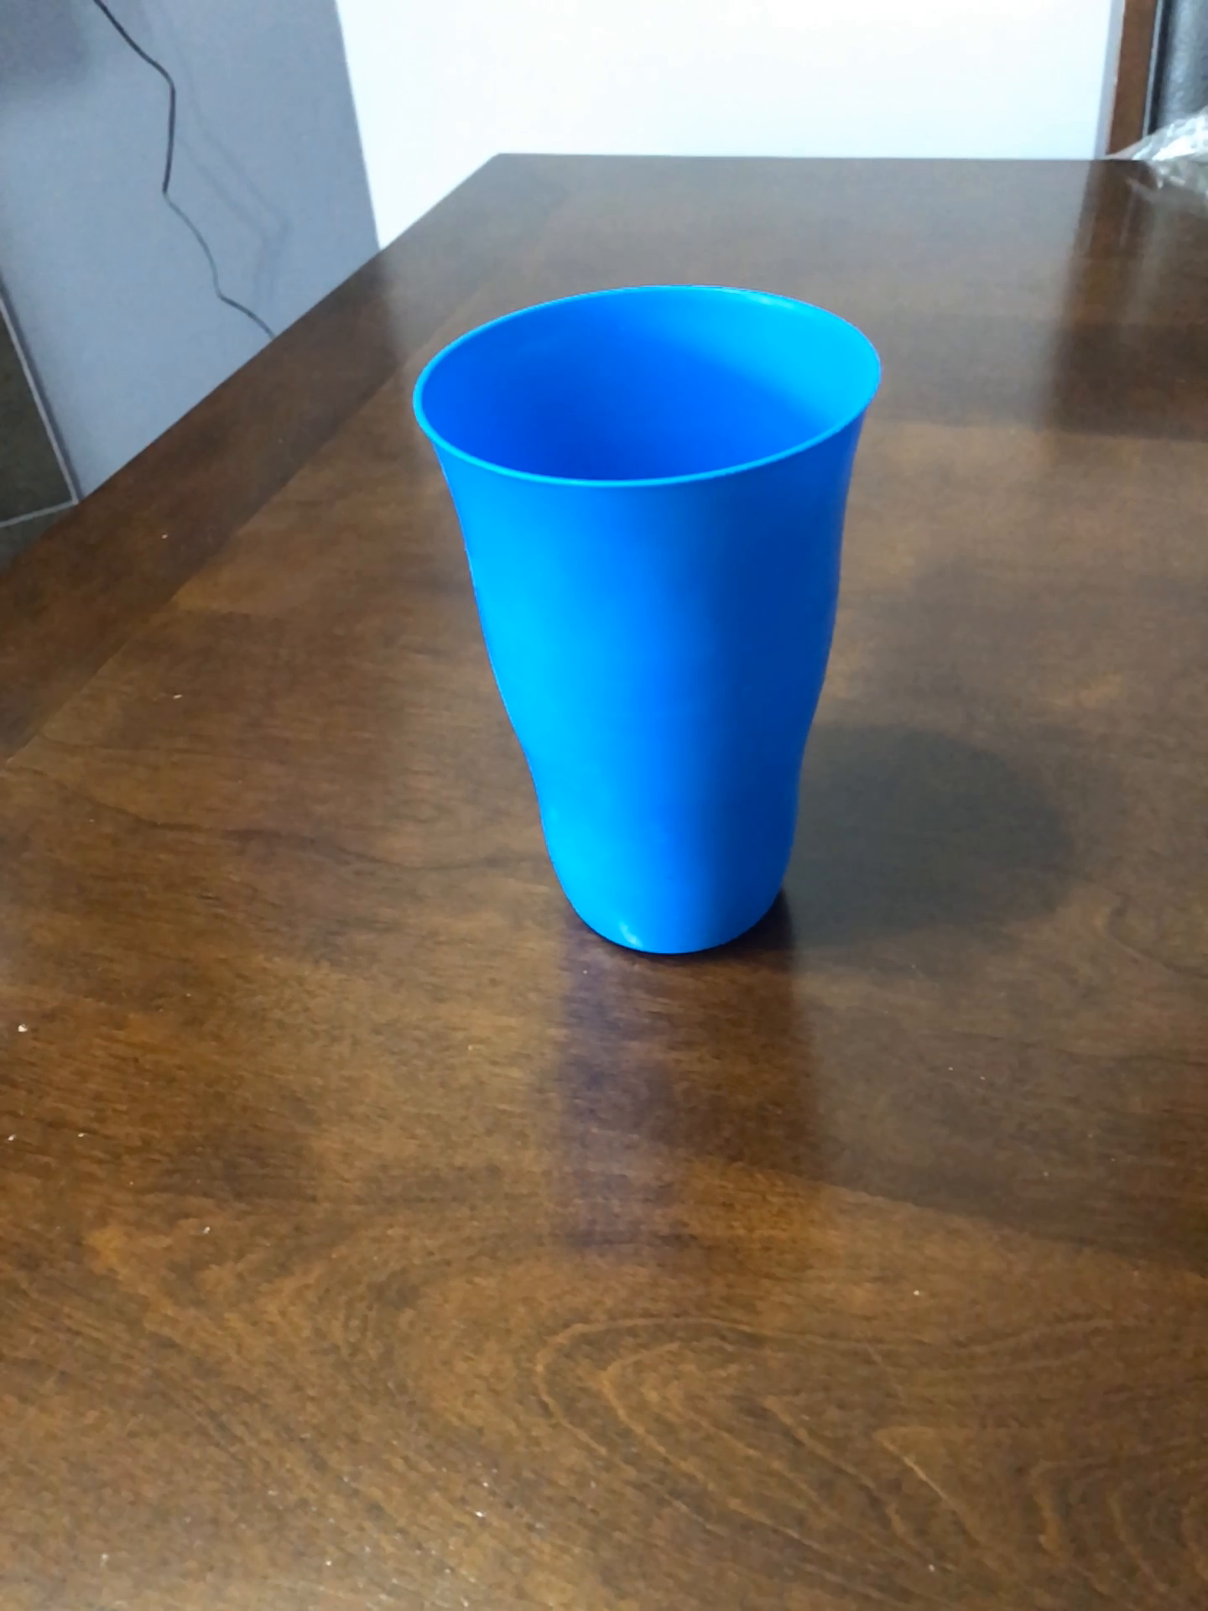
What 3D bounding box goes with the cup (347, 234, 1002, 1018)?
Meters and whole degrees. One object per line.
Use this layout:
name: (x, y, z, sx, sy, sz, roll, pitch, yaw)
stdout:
cup: (0.014, -0.045, 0.318, 0.100, 0.129, 0.100, -3, 41, 3)
